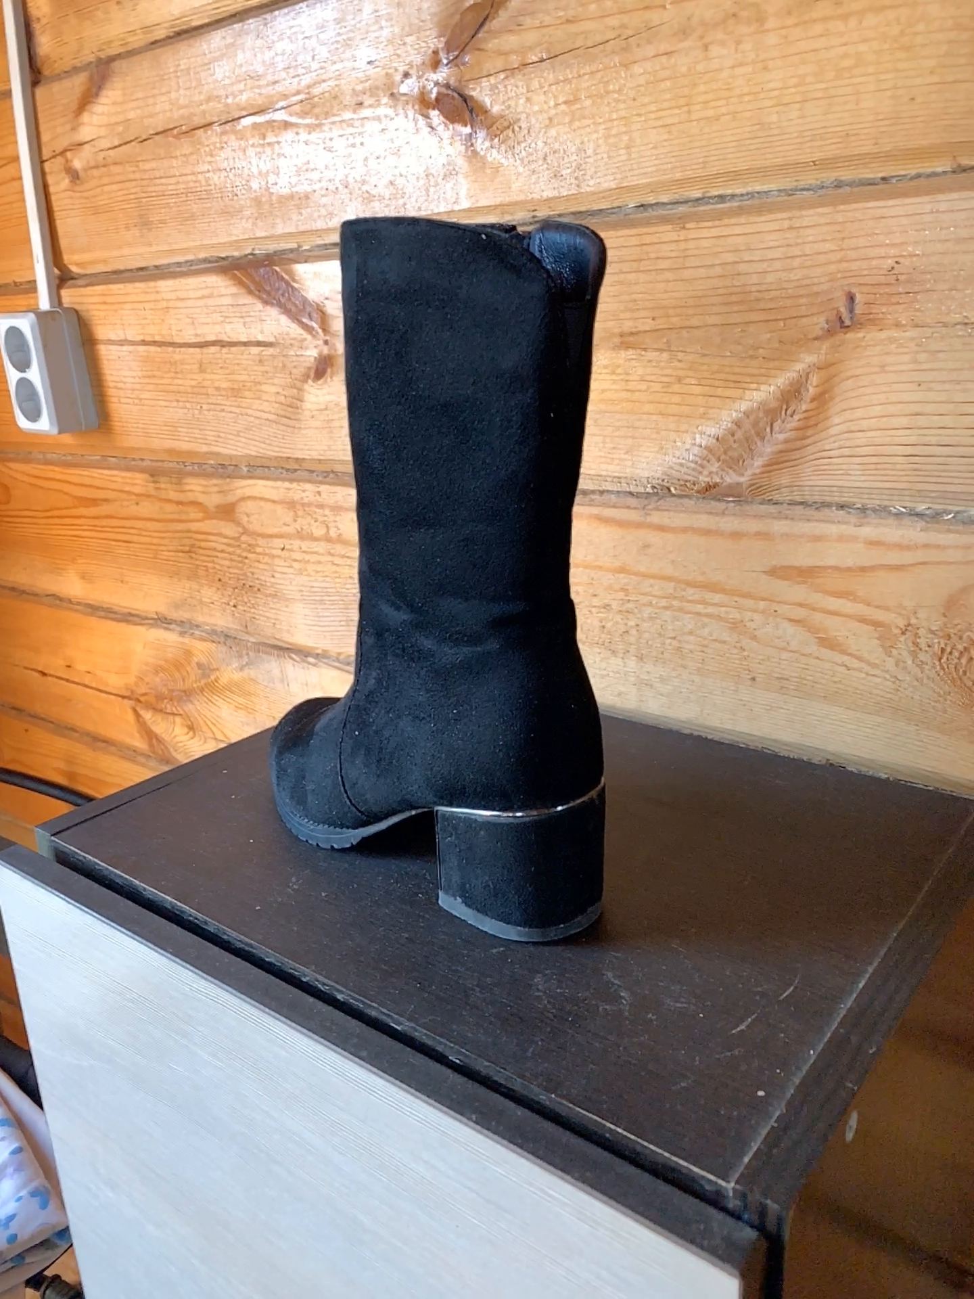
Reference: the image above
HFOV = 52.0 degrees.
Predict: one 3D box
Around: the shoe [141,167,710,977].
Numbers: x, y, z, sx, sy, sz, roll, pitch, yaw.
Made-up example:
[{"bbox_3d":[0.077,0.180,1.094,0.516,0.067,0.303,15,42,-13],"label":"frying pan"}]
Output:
[{"bbox_3d":[-0.033,-0.044,0.439,0.100,0.268,0.233,-17,22,-42],"label":"shoe"}]
